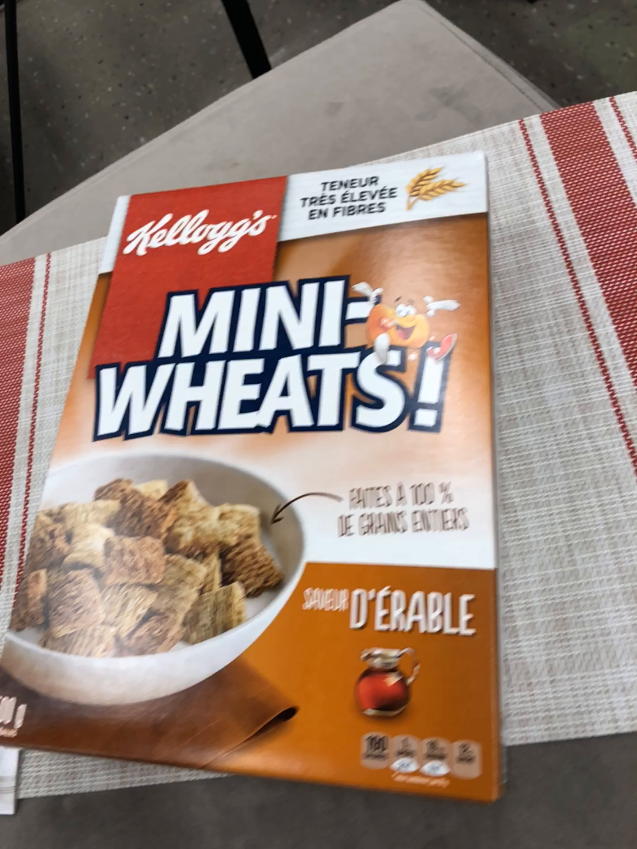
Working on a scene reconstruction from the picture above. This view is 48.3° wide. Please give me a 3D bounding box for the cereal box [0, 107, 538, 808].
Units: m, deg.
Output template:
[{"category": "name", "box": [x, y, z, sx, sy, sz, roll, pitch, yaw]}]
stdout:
[{"category": "cereal box", "box": [-0.017, 0.000, 0.319, 0.210, 0.060, 0.280, -2, 66, 16]}]
